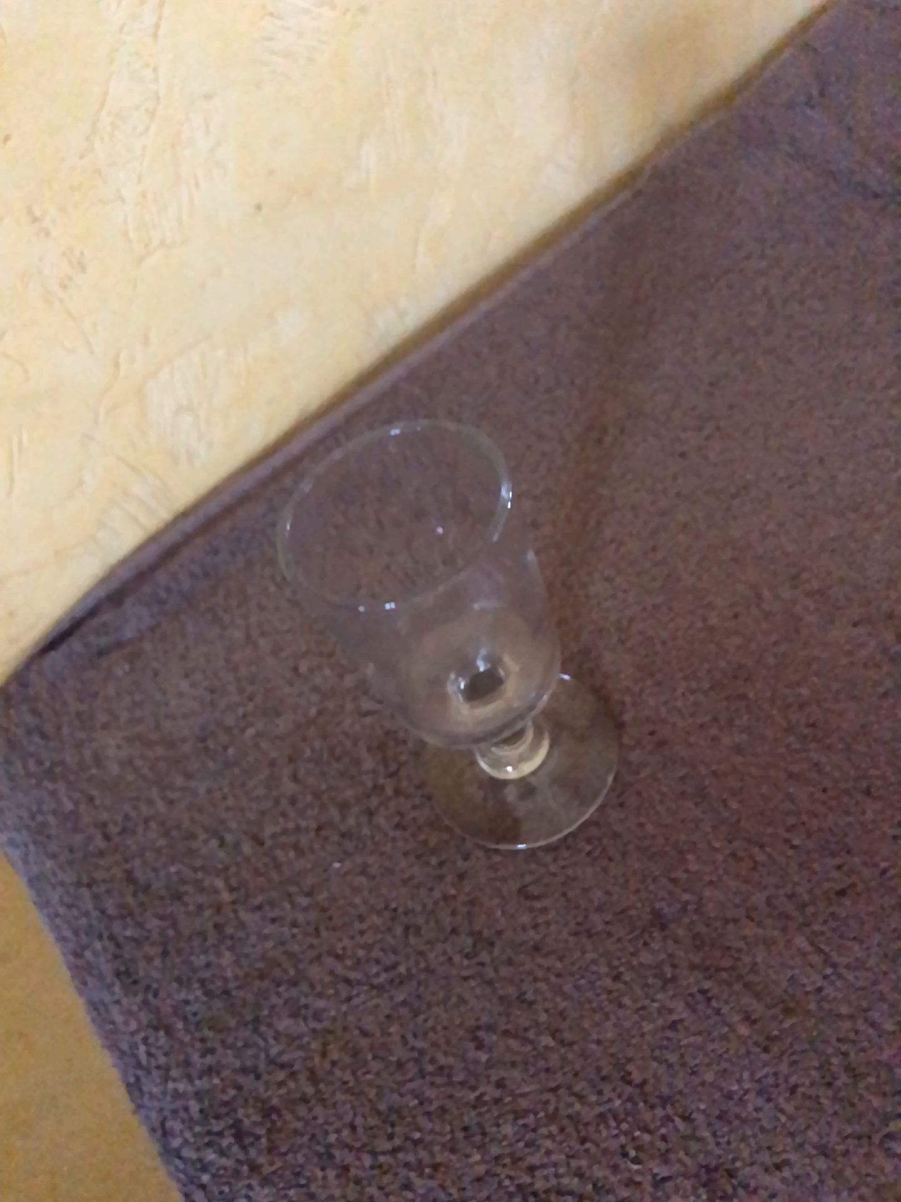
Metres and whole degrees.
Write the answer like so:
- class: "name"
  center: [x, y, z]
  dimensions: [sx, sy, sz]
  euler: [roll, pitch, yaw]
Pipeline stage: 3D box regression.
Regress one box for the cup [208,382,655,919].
- class: "cup"
  center: [0.000, 0.017, 0.246]
  dimensions: [0.060, 0.109, 0.060]
  euler: [-11, 51, 13]
